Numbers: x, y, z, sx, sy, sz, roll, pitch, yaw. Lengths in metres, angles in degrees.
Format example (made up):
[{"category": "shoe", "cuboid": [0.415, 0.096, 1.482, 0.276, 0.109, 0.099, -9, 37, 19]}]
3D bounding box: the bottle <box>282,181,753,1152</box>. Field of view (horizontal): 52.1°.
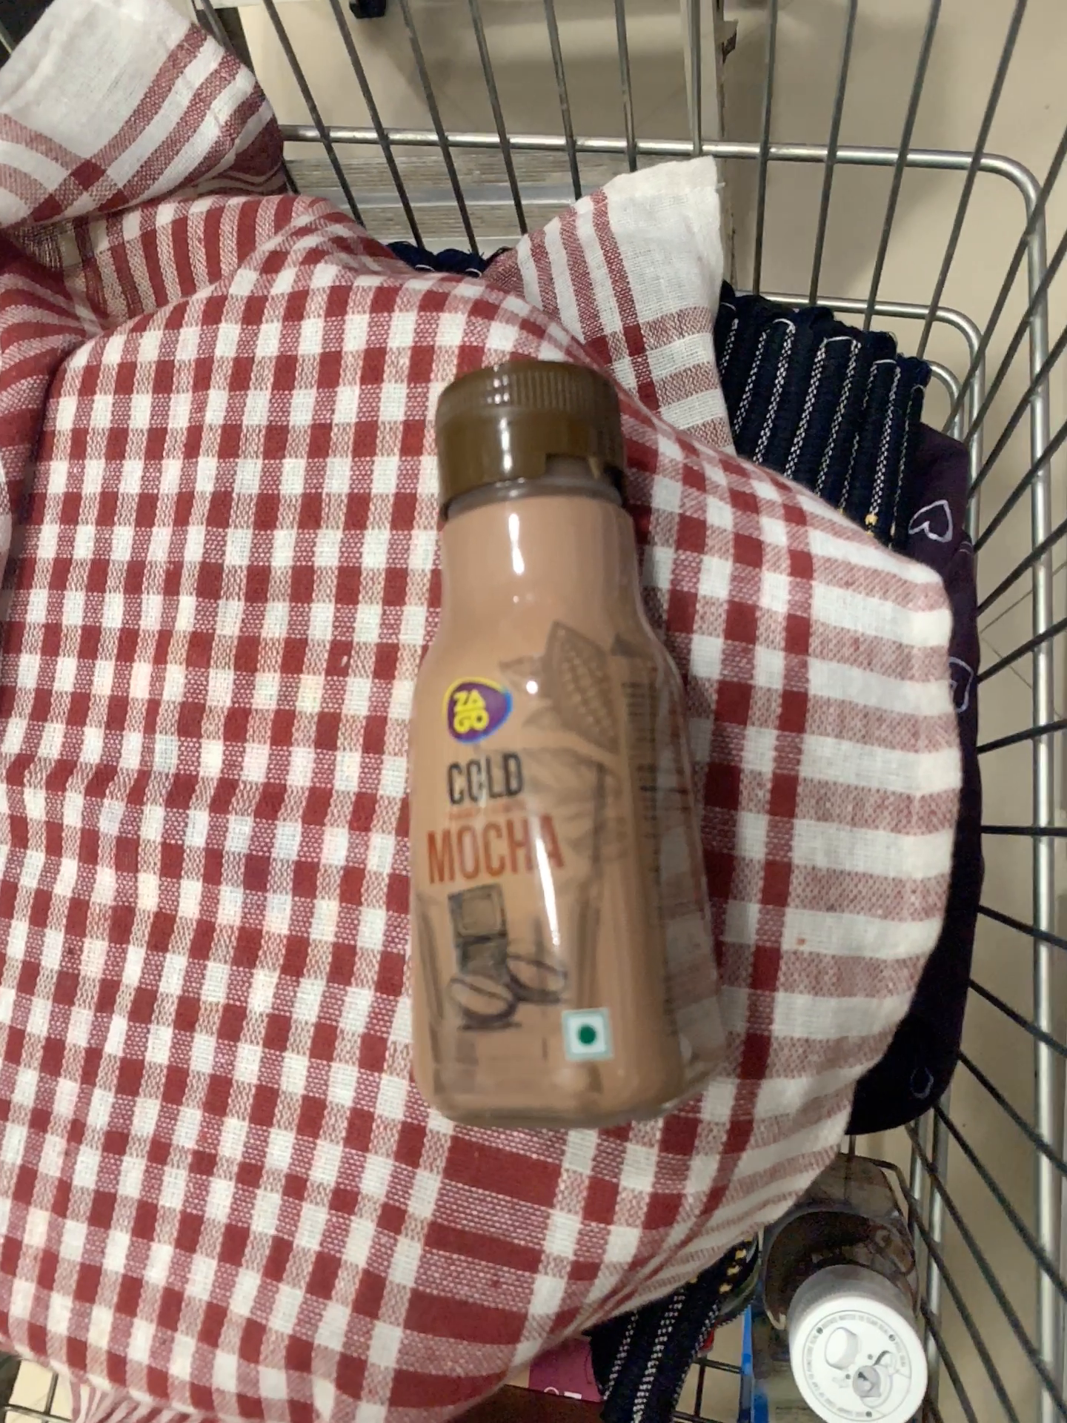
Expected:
[{"category": "bottle", "cuboid": [-0.002, -0.006, 0.231, 0.060, 0.070, 0.170, -9, 81, 24]}]
